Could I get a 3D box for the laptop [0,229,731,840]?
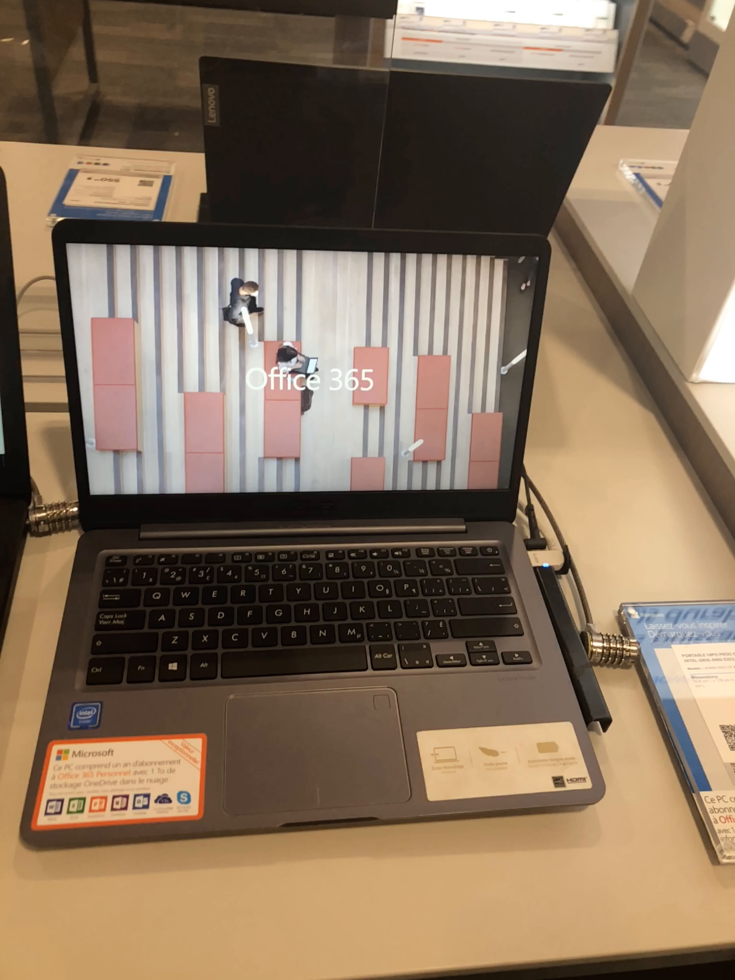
[{"bbox_3d":[-0.027,0.007,0.485,0.316,0.196,0.292,-1,44,-8],"label":"laptop"}]
